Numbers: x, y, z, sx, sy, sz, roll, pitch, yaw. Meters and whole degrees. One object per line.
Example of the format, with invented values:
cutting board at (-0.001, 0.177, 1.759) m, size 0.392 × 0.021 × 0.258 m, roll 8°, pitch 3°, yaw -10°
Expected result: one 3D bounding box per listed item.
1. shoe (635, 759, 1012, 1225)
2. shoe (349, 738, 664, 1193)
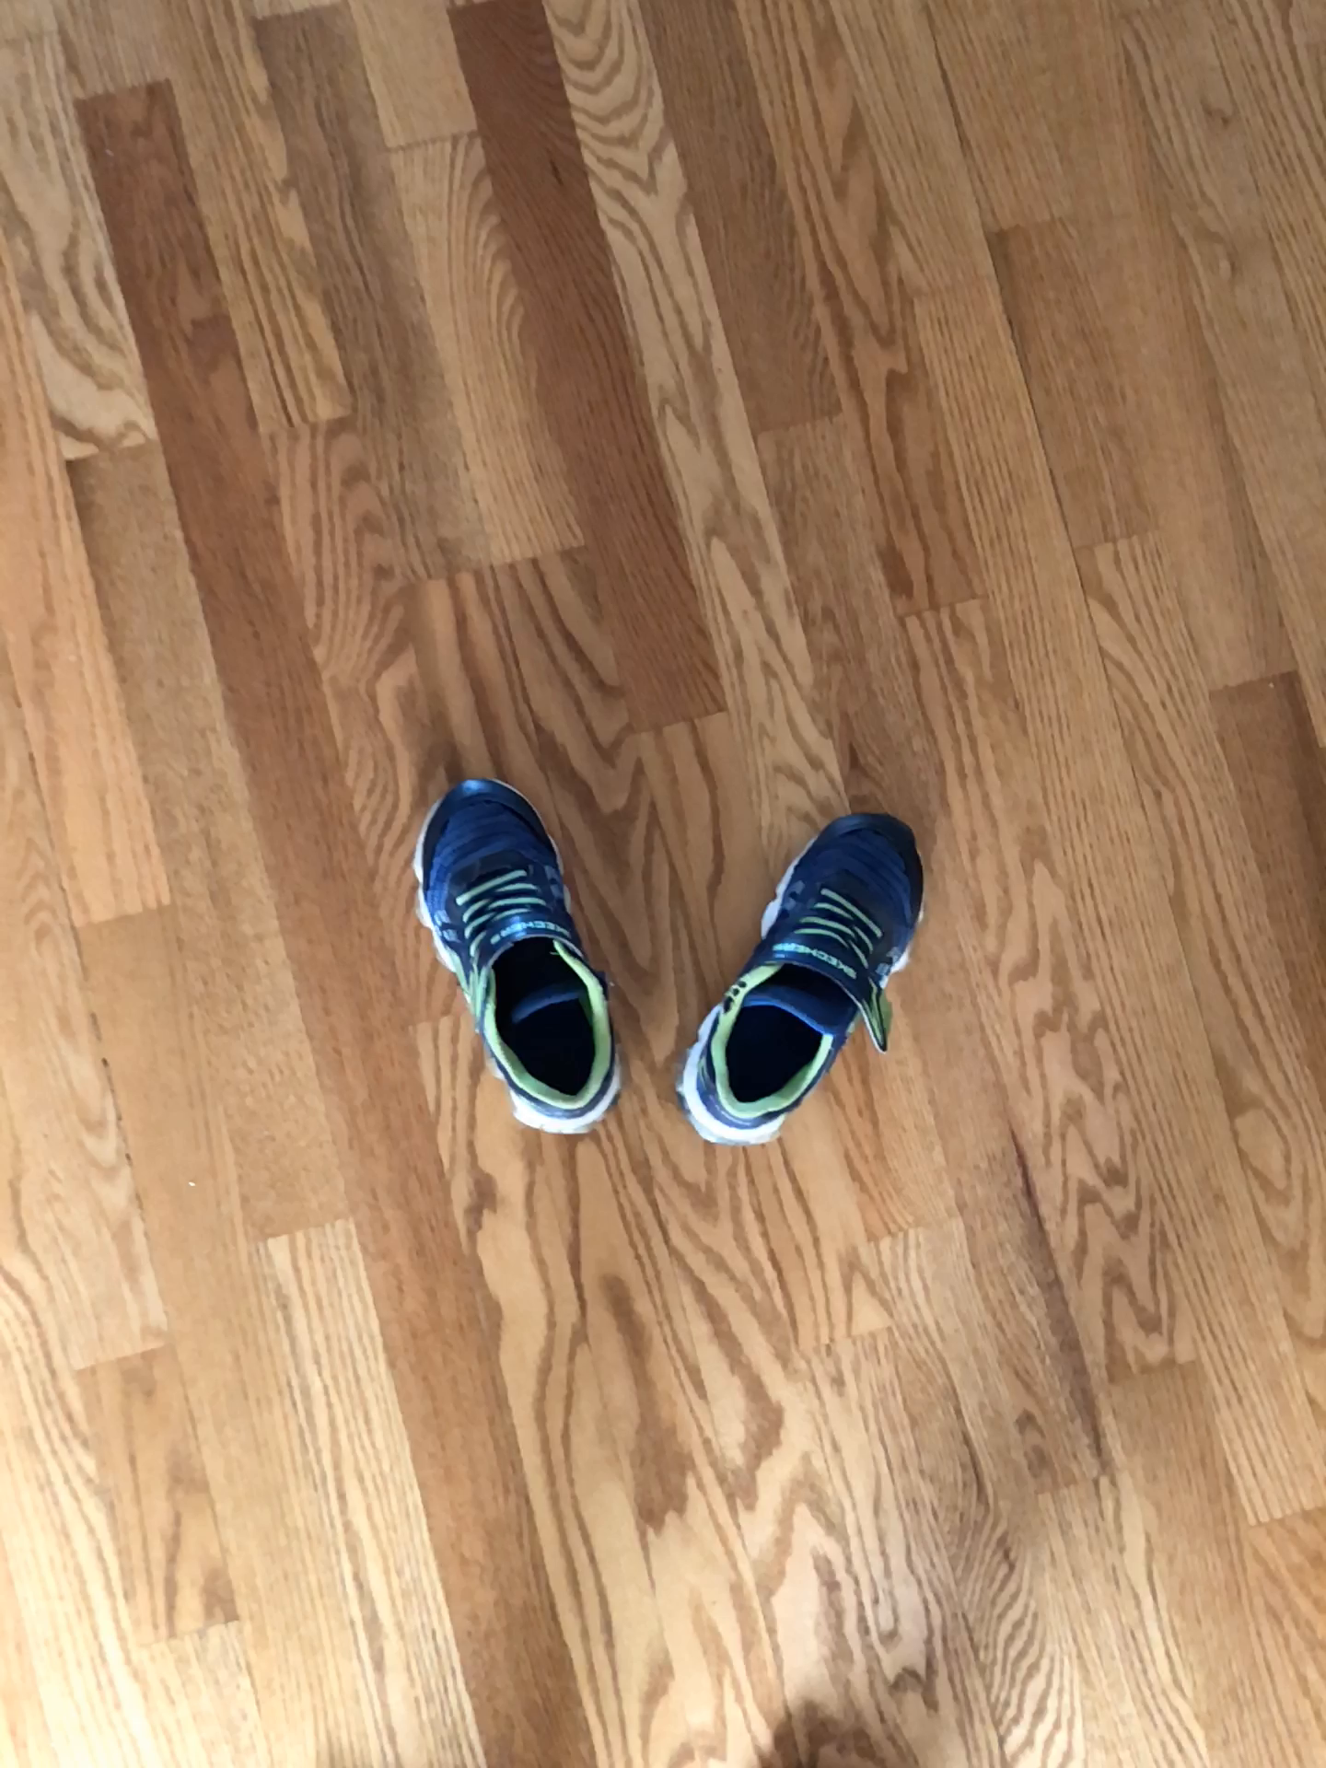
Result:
shoe at (0.080, 0.055, 0.763) m, size 0.093 × 0.087 × 0.212 m, roll 30°, pitch 85°, yaw -2°
shoe at (-0.080, 0.042, 0.756) m, size 0.093 × 0.095 × 0.203 m, roll -19°, pitch 88°, yaw -5°
